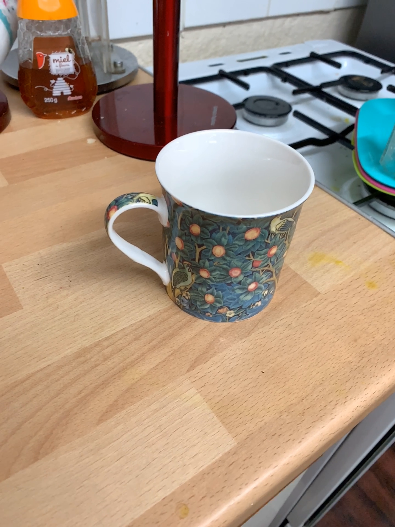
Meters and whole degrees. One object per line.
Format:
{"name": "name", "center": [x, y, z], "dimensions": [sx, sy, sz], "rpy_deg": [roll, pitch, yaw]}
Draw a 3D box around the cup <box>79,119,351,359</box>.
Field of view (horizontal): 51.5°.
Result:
{"name": "cup", "center": [0.001, -0.019, 0.245], "dimensions": [0.120, 0.089, 0.091], "rpy_deg": [-10, 46, -15]}
